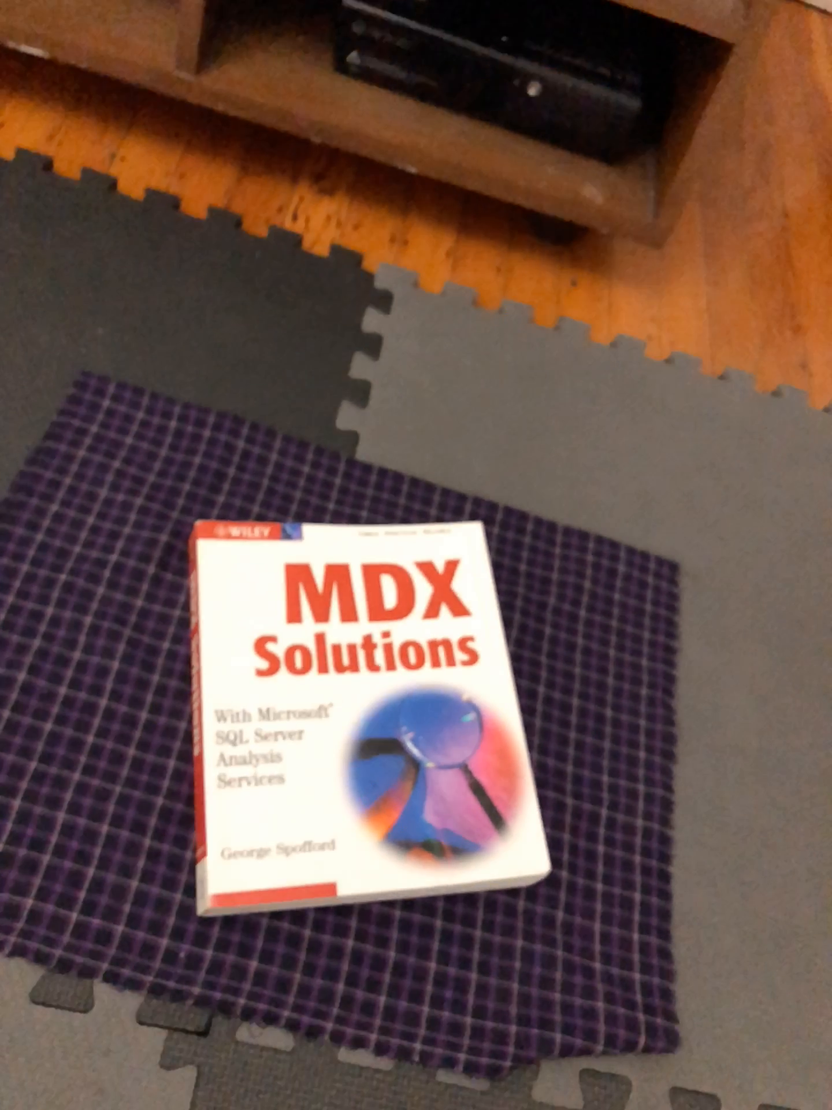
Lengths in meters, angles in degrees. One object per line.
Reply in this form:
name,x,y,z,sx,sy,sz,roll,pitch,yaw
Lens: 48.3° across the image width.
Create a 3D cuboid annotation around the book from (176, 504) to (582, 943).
book,-0.036,0.090,0.591,0.220,0.050,0.261,0,59,-16
